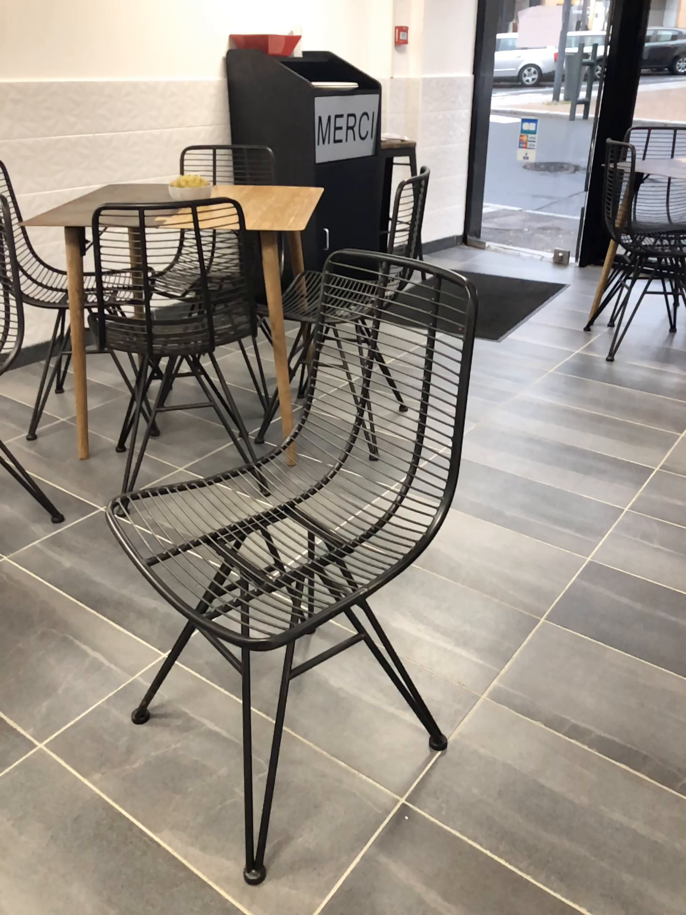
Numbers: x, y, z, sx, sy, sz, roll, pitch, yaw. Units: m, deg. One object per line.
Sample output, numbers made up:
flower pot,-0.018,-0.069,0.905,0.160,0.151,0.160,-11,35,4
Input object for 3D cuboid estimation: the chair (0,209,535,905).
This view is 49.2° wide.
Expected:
chair,-0.115,0.086,1.150,0.522,0.786,0.501,-20,33,-34
